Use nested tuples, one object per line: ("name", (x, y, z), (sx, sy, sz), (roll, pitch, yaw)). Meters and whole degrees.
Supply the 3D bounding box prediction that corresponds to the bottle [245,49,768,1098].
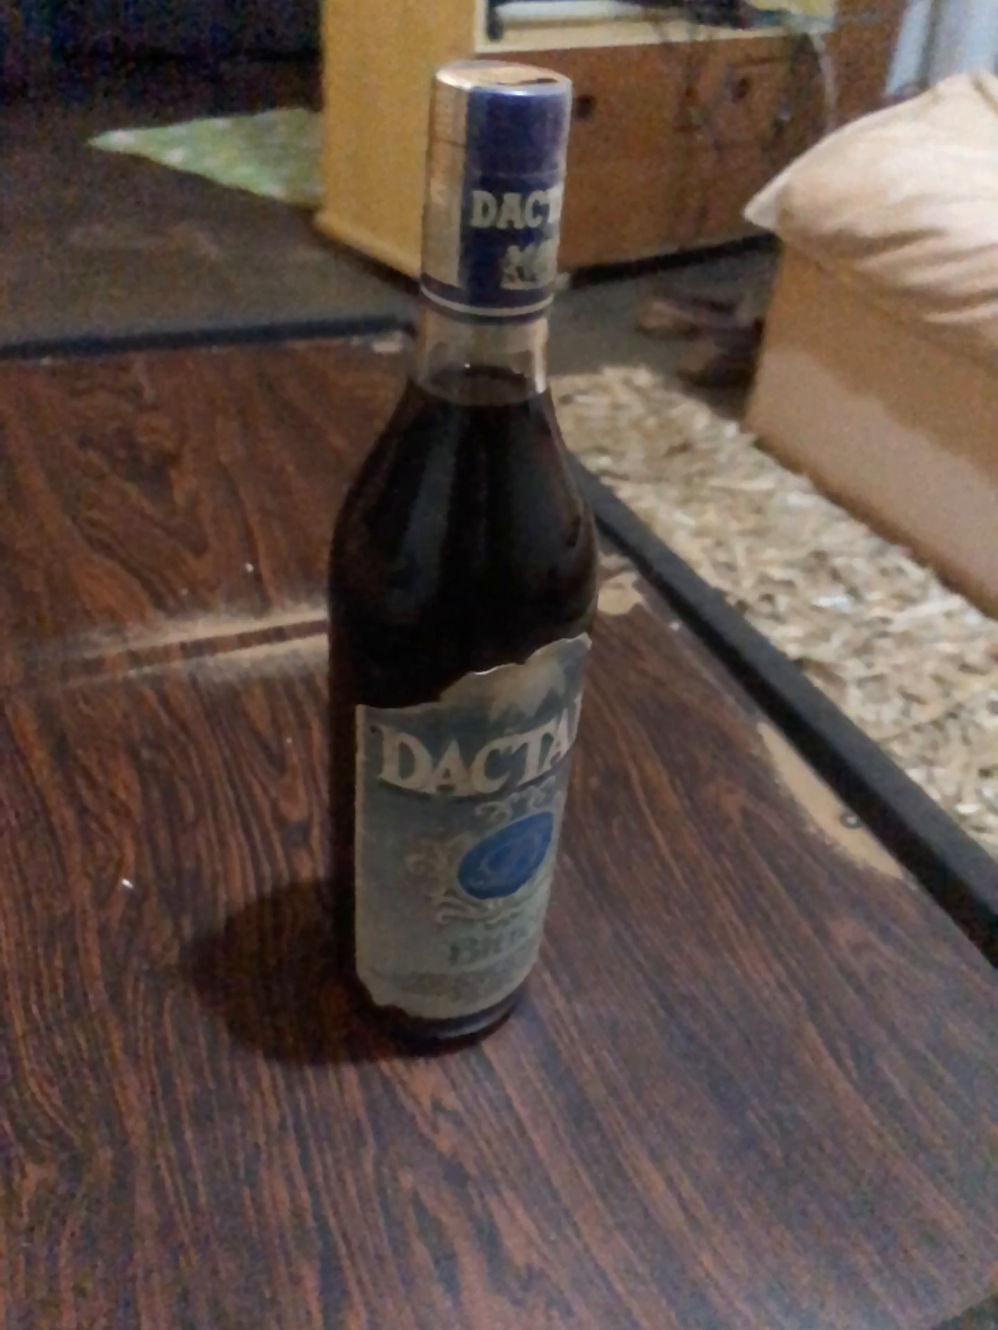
("bottle", (-0.011, -0.008, 0.341), (0.090, 0.308, 0.080), (-16, 41, -27))
